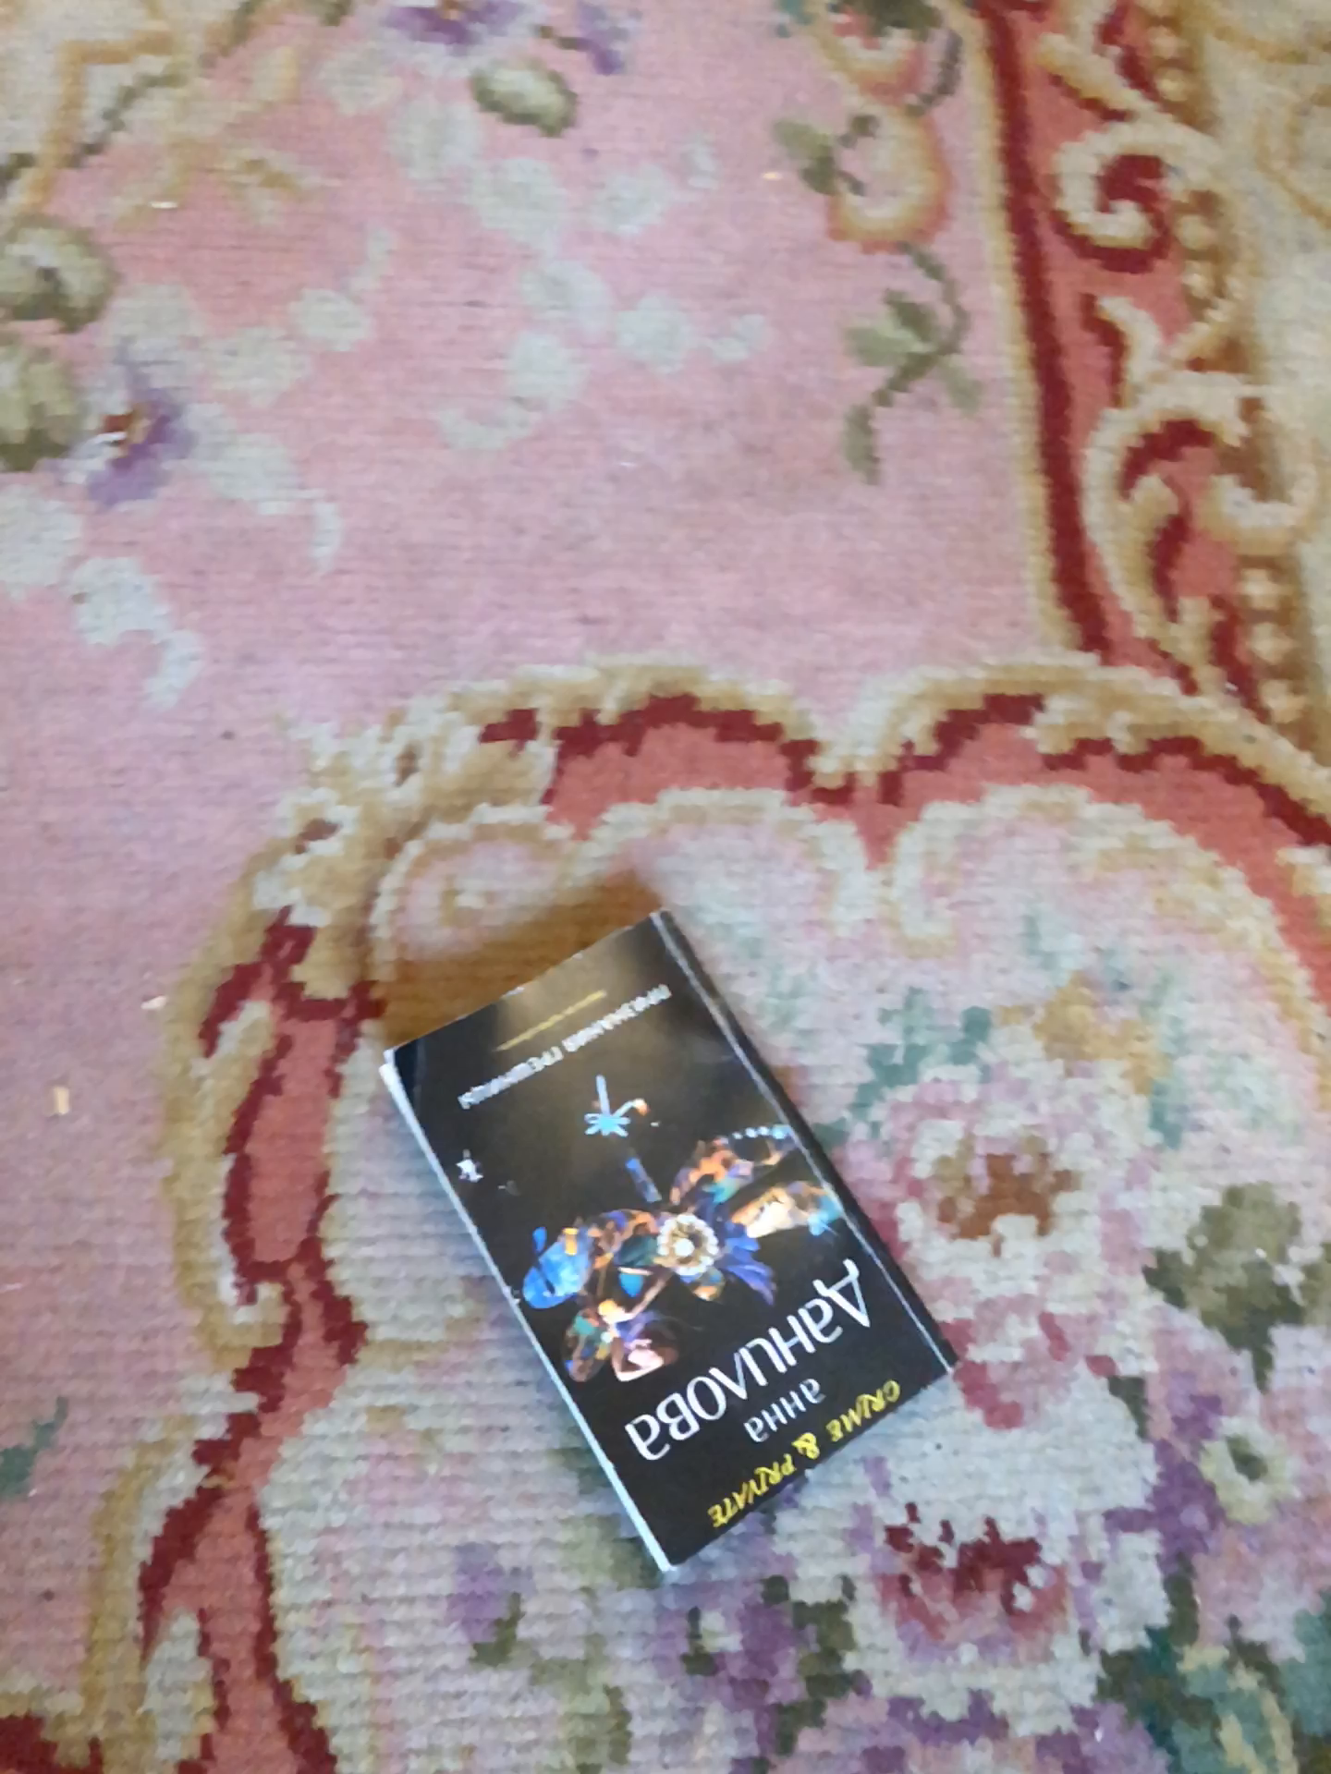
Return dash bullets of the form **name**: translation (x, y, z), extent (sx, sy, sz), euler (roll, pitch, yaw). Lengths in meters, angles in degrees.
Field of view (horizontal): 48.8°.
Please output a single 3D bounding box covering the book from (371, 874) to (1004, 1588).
- **book**: translation (0.003, 0.097, 0.439), extent (0.110, 0.050, 0.165), euler (-29, 76, -14)
